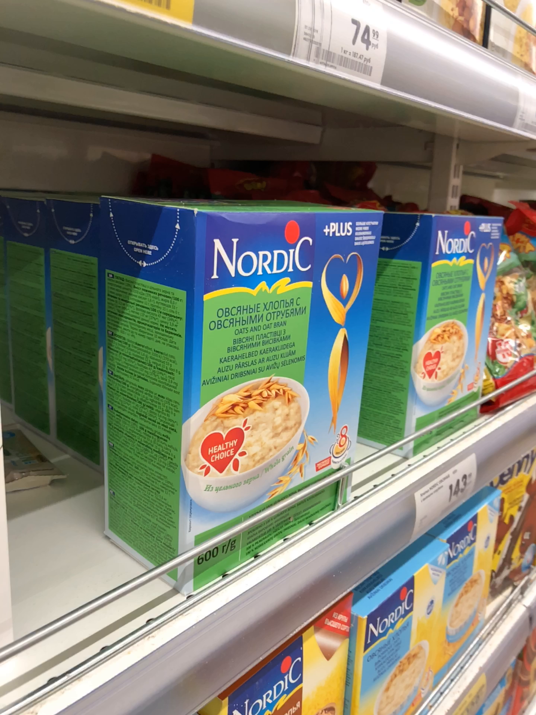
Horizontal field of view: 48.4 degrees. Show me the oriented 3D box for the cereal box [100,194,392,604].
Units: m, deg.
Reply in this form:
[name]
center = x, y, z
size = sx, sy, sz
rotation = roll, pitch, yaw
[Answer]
[cereal box]
center = -0.010, 0.009, 0.342
size = 0.070, 0.189, 0.150
rotation = 17, 20, 40
